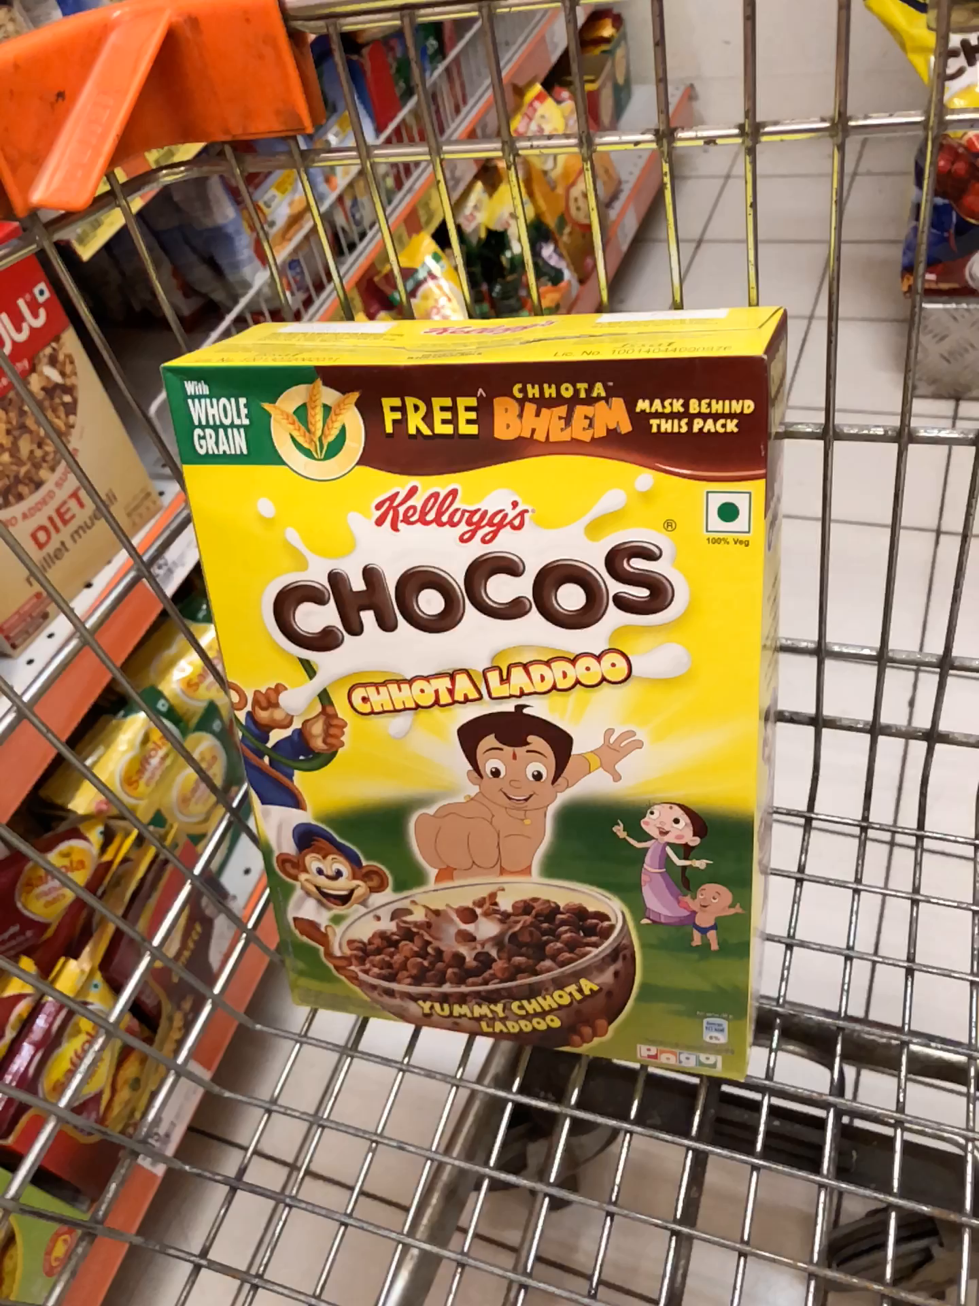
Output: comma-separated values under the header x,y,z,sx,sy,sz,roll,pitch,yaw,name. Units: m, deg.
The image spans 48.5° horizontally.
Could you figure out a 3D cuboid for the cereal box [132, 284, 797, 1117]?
x,y,z,sx,sy,sz,roll,pitch,yaw,name
0.004,0.015,0.367,0.180,0.249,0.080,3,24,18,cereal box
